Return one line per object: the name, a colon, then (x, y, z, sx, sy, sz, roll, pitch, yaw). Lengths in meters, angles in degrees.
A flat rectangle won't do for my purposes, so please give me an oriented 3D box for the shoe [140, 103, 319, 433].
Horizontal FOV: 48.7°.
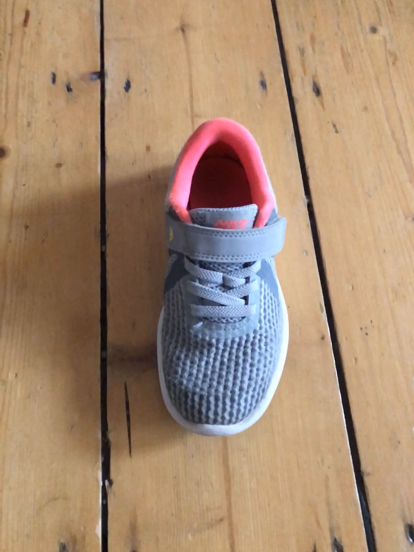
shoe: (0.008, -0.004, 0.269, 0.080, 0.070, 0.180, 0, 70, -2)
